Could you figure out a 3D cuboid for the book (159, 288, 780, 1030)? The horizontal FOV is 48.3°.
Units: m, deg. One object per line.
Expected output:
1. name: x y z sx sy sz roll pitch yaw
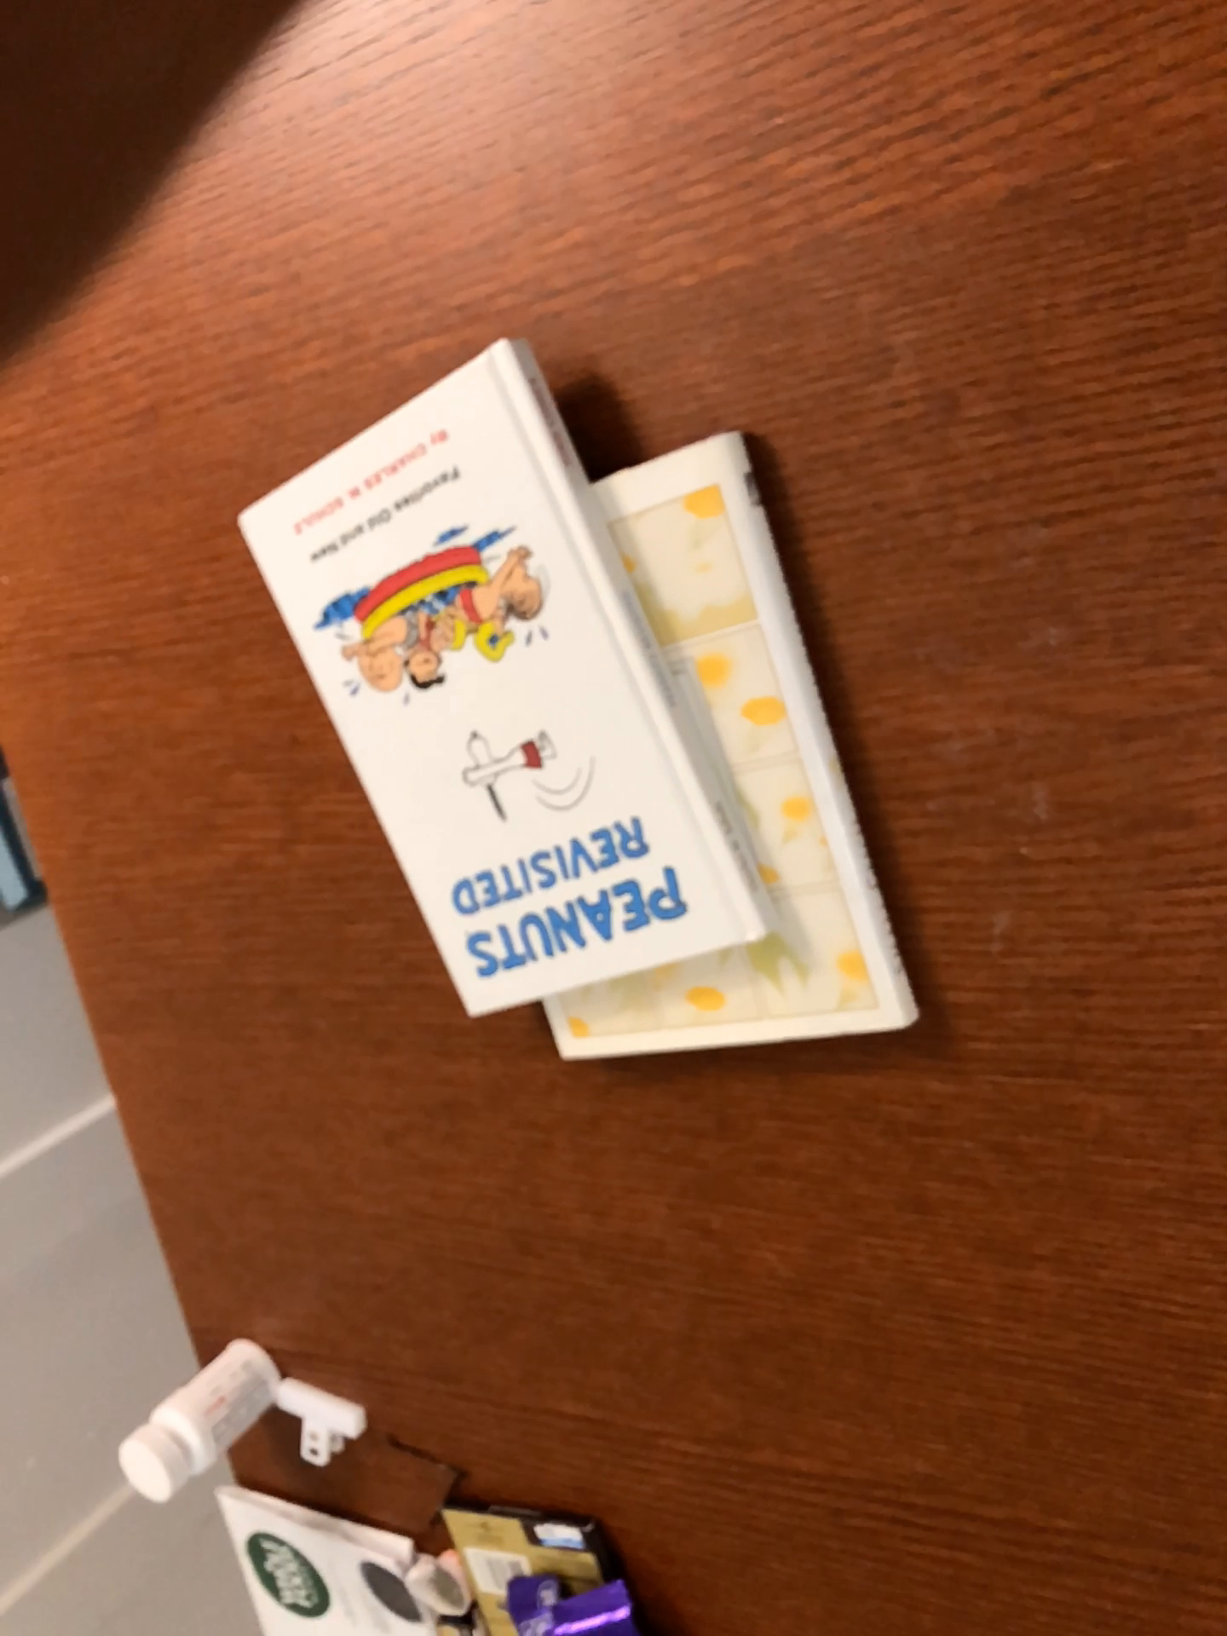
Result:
1. book: -0.057 -0.042 0.471 0.160 0.020 0.210 -22 96 36
